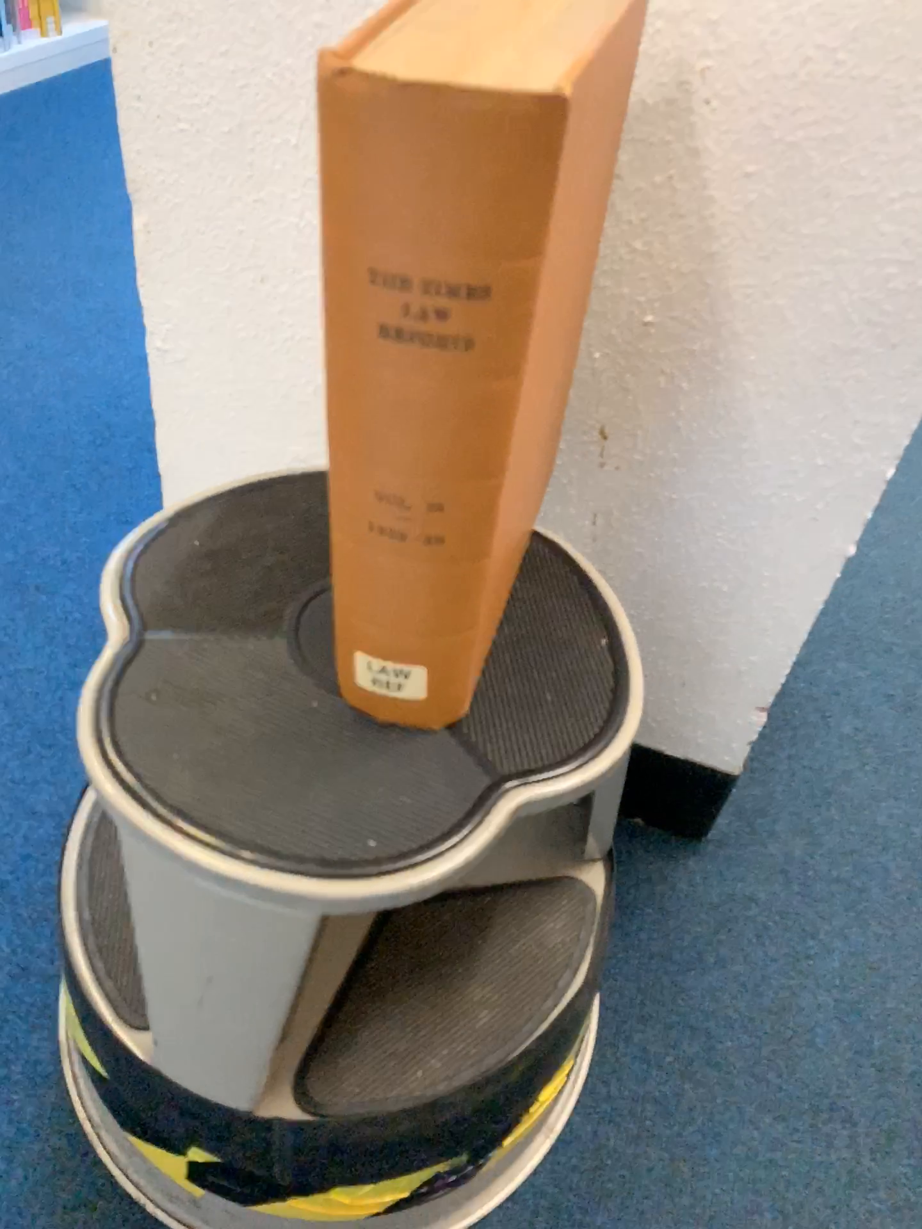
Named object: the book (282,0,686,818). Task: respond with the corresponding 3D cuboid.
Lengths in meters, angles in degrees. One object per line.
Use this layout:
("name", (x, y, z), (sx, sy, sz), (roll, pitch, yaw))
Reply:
("book", (0.004, -0.105, 0.429), (0.090, 0.337, 0.222), (14, 43, 6))
